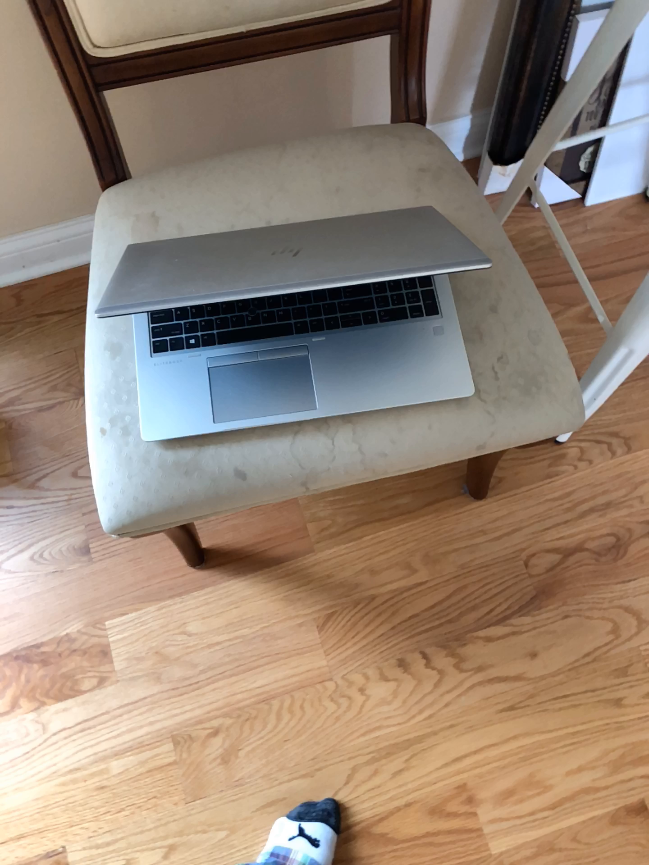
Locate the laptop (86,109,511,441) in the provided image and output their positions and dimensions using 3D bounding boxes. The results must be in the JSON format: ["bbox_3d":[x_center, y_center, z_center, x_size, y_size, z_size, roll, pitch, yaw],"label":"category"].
[{"bbox_3d":[-0.033,-0.157,0.742,0.365,0.159,0.244,-8,71,-2],"label":"laptop"}]
